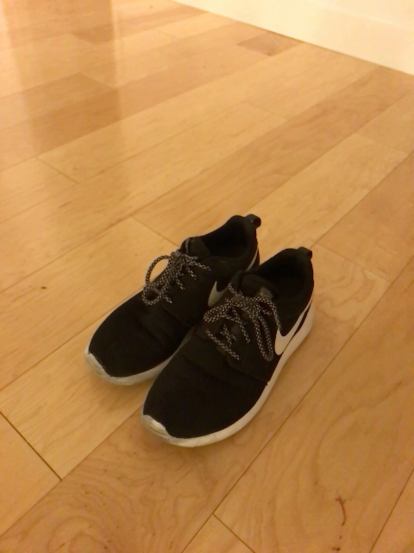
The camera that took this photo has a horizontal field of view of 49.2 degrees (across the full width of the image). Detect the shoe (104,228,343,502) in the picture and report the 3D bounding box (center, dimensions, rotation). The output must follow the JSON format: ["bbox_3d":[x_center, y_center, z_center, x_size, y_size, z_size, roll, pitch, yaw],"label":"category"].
[{"bbox_3d":[0.033,0.077,0.510,0.110,0.099,0.292,28,49,22],"label":"shoe"}]

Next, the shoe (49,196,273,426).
[{"bbox_3d":[-0.040,0.024,0.564,0.100,0.099,0.292,28,49,22],"label":"shoe"}]
